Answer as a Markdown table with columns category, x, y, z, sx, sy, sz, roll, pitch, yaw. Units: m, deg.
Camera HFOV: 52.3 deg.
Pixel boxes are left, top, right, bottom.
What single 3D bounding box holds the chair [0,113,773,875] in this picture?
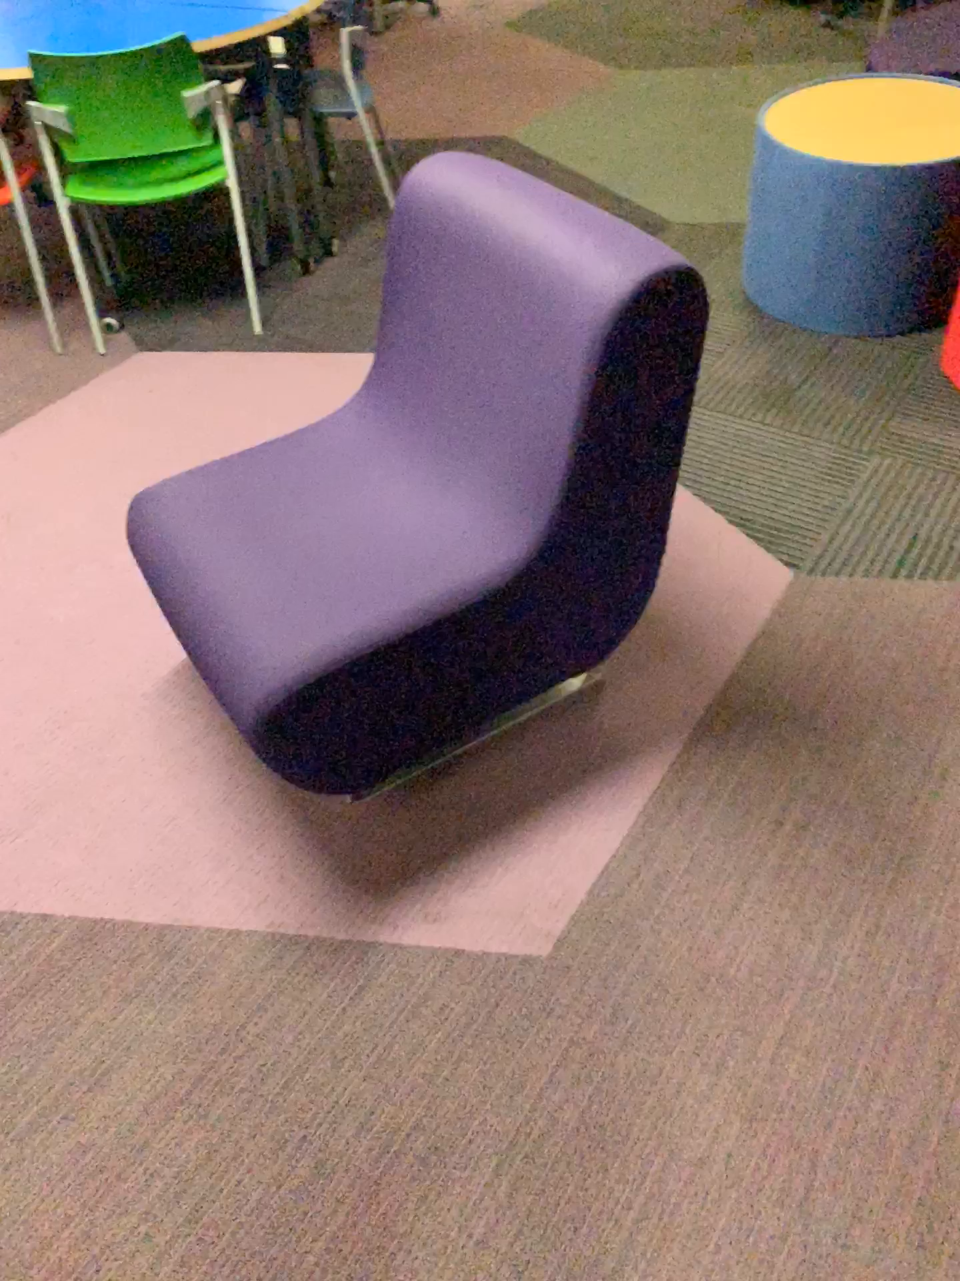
| category | x | y | z | sx | sy | sz | roll | pitch | yaw |
| --- | --- | --- | --- | --- | --- | --- | --- | --- | --- |
| chair | -0.181 | -0.299 | 1.520 | 0.822 | 0.614 | 0.806 | -27 | 48 | -21 |
